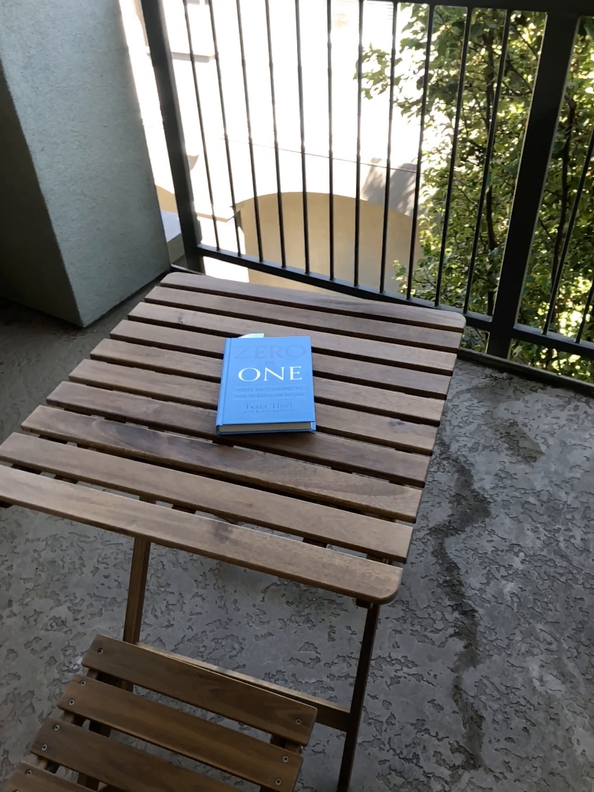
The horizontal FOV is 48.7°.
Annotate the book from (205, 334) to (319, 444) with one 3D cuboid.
[{"bbox_3d":[-0.051,-0.017,1.020,0.160,0.030,0.221,-3,40,1],"label":"book"}]
